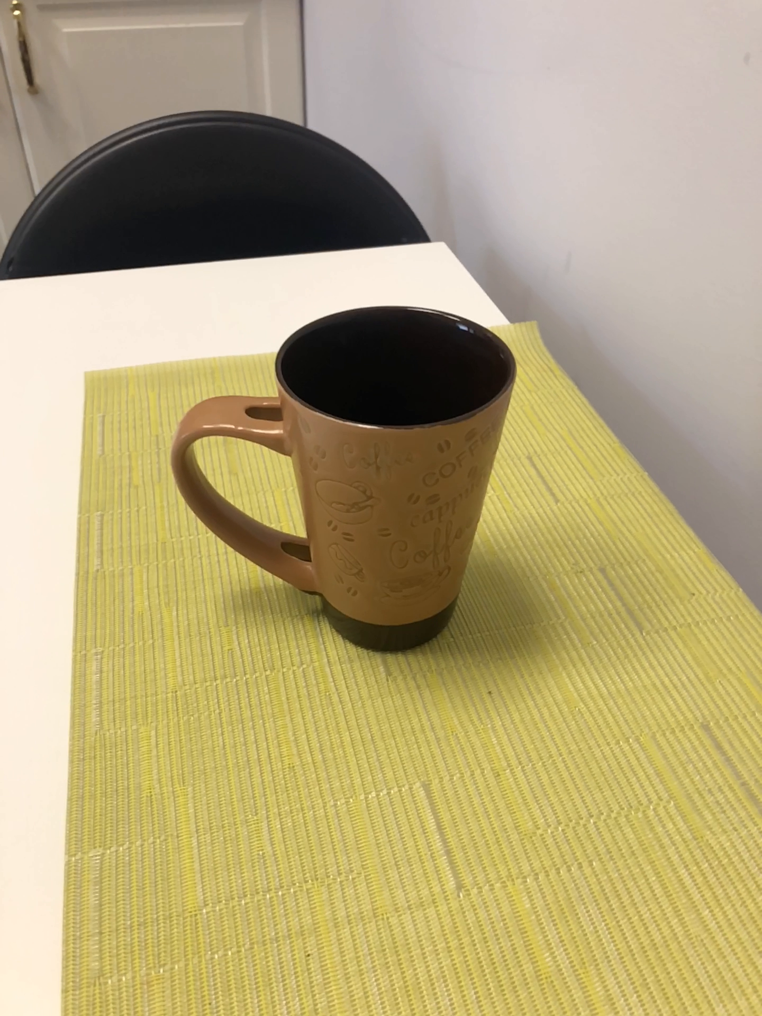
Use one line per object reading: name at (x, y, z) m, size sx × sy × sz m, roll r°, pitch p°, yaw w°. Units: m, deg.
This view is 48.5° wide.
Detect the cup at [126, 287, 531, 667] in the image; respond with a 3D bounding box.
cup at (-0.019, -0.012, 0.337) m, size 0.126 × 0.119 × 0.090 m, roll 0°, pitch 39°, yaw -2°
